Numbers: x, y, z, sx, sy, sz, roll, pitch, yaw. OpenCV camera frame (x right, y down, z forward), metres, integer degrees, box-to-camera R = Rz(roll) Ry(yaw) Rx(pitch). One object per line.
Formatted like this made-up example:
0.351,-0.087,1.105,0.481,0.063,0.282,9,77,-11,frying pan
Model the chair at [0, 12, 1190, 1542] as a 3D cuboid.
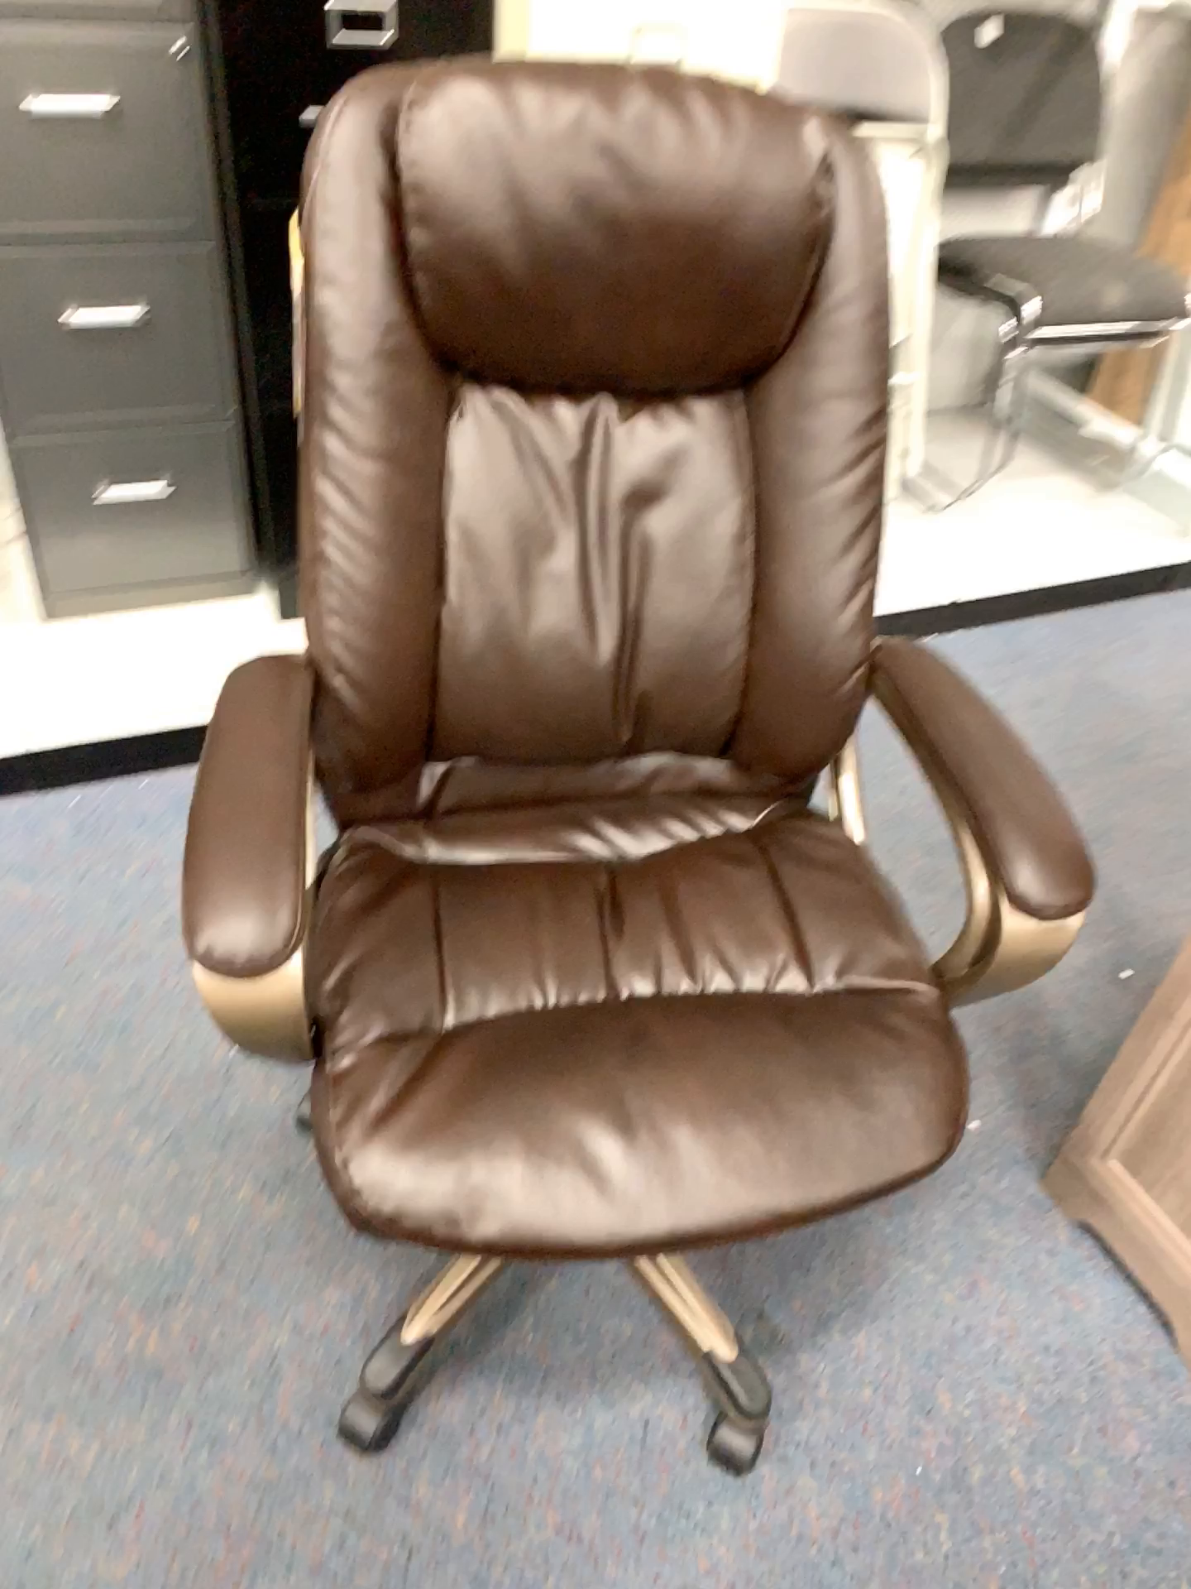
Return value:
0.026,0.011,1.142,0.724,1.112,0.815,-1,41,-9,chair
